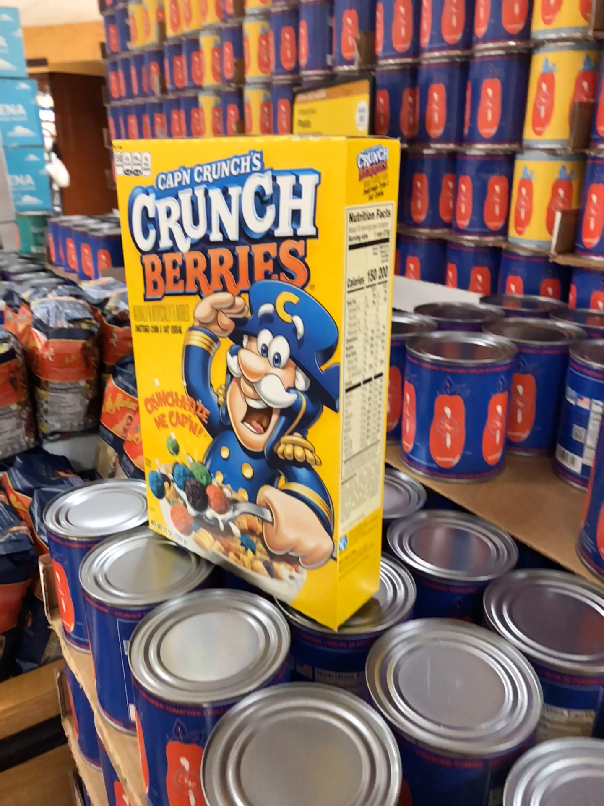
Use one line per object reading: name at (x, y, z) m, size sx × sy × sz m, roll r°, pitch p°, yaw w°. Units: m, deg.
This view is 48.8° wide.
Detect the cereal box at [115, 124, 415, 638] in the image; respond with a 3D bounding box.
cereal box at (-0.029, -0.022, 0.447) m, size 0.190 × 0.298 × 0.060 m, roll 17°, pitch 26°, yaw 38°
